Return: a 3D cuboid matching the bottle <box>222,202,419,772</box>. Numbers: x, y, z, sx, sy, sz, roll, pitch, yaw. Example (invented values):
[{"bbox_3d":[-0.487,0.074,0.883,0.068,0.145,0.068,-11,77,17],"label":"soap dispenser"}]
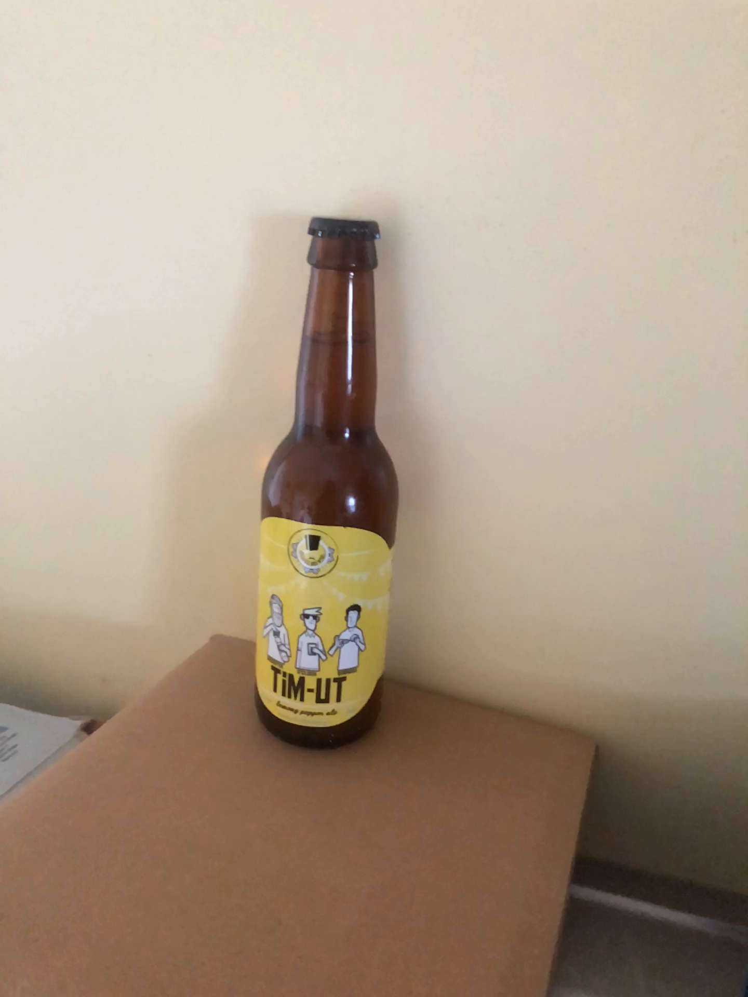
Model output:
[{"bbox_3d":[-0.024,-0.004,0.355,0.060,0.229,0.060,3,18,-1],"label":"bottle"}]
